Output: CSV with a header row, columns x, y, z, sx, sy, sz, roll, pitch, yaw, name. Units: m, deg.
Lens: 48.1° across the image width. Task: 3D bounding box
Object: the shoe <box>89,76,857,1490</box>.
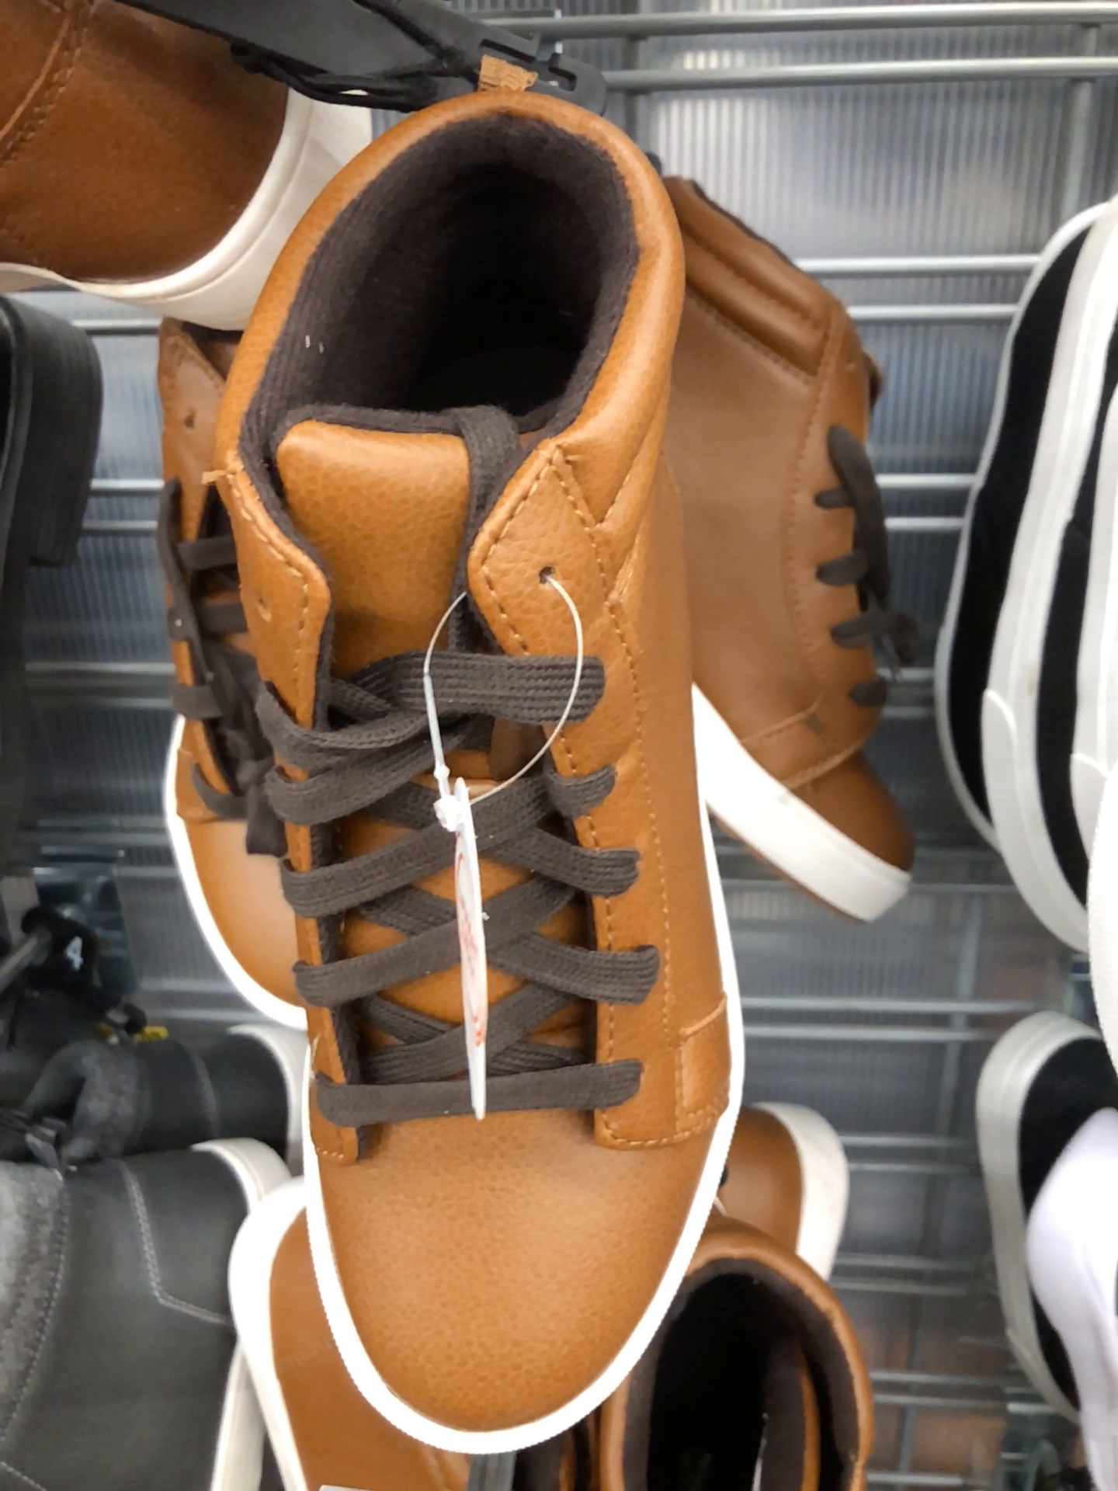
x,y,z,sx,sy,sz,roll,pitch,yaw,name
-0.010,0.026,0.221,0.096,0.227,0.110,-1,2,0,shoe
